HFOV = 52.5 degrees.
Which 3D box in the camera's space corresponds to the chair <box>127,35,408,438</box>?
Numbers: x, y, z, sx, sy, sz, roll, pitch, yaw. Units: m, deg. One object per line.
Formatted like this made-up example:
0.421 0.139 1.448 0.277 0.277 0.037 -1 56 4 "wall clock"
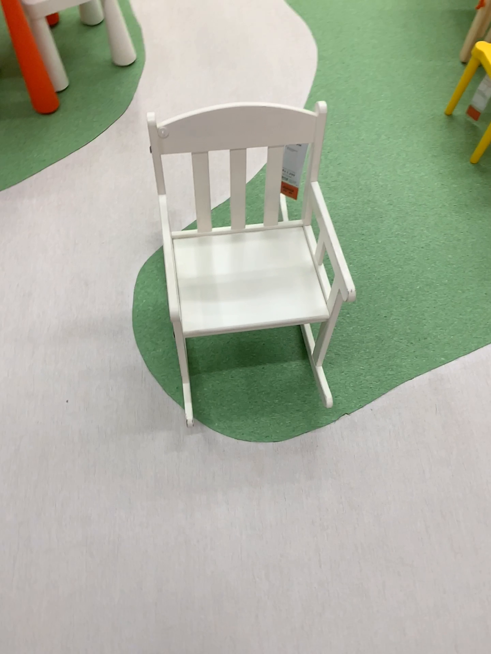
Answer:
-0.009 -0.191 1.152 0.410 0.499 0.731 -6 64 -6 "chair"
